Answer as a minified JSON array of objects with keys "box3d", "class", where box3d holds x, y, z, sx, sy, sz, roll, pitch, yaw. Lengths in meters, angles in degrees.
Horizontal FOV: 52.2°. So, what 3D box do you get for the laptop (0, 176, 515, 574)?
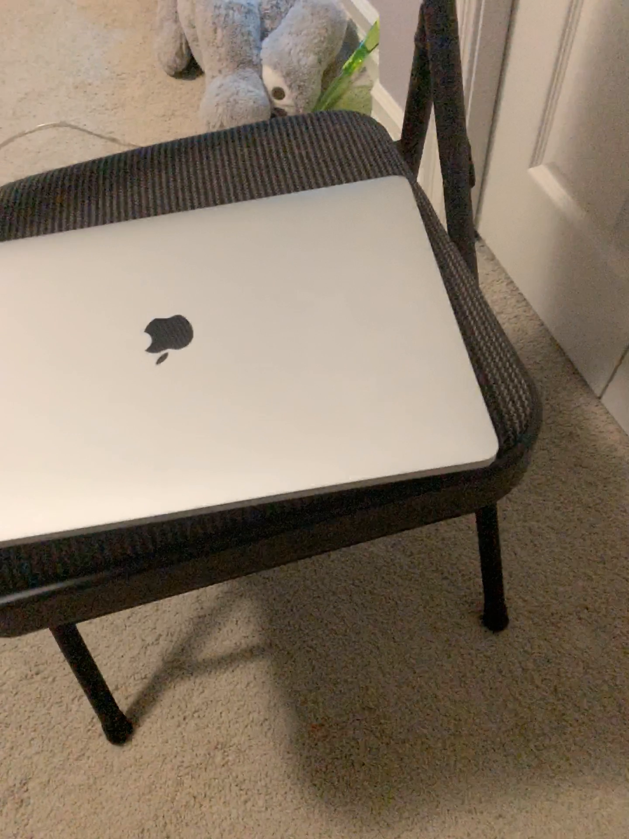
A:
[{"box3d":[-0.080,-0.044,0.381,0.332,0.001,0.224,-10,59,1],"class":"laptop"}]
